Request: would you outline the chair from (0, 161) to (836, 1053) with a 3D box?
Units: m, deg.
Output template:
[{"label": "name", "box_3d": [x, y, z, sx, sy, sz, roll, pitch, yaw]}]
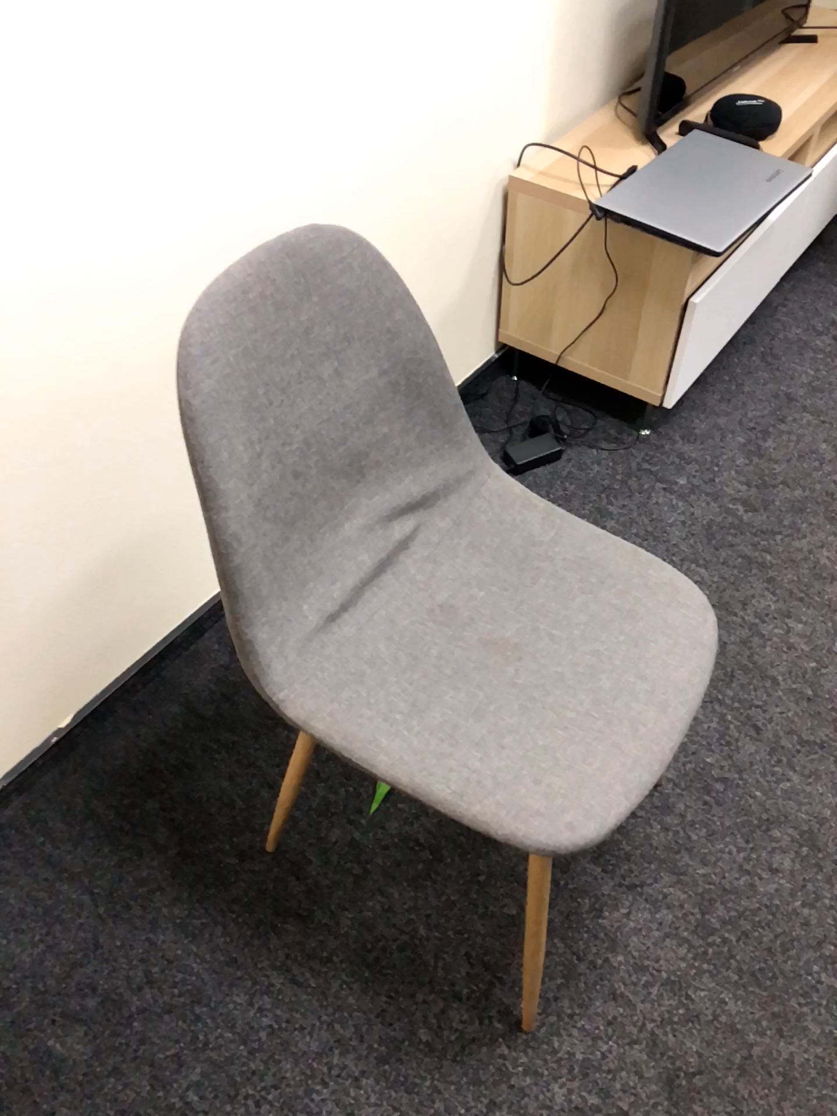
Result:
[{"label": "chair", "box_3d": [0.023, 0.084, 1.077, 0.601, 0.786, 0.472, 26, 54, 22]}]
